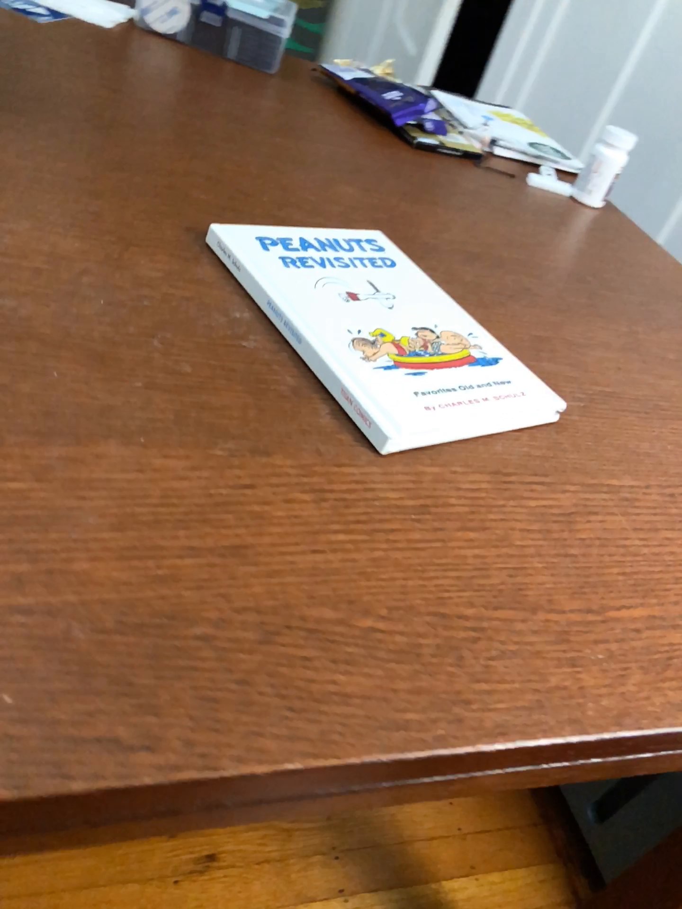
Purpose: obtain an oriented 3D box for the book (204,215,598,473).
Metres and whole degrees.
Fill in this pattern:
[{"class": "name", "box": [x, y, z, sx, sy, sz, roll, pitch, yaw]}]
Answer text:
[{"class": "book", "box": [0.031, -0.082, 0.466, 0.150, 0.020, 0.221, -10, 48, -36]}]
